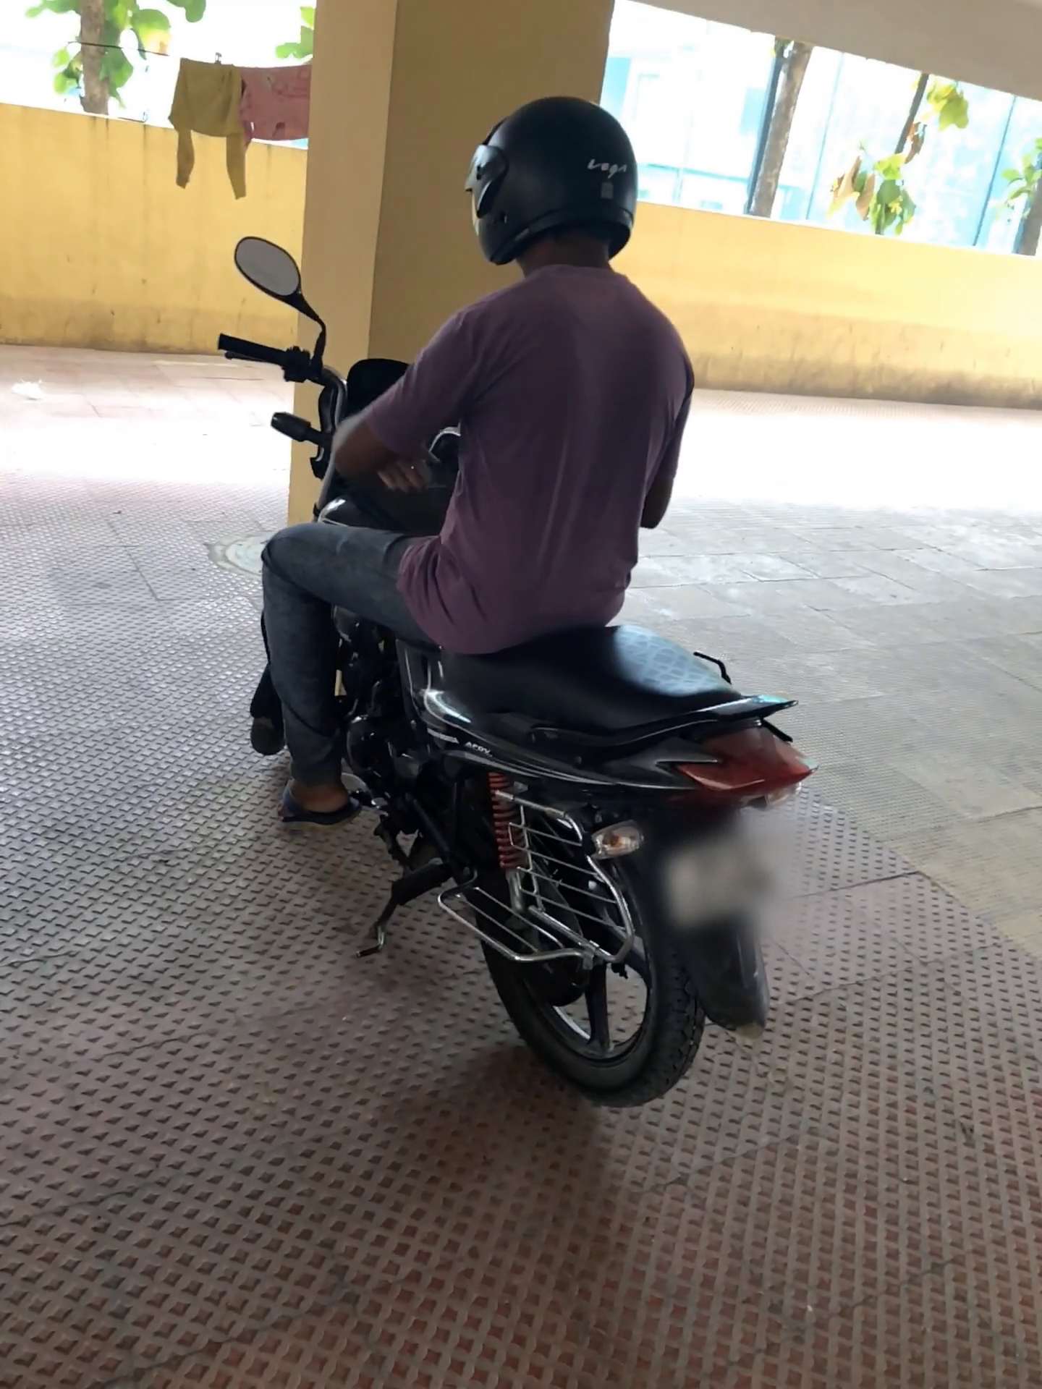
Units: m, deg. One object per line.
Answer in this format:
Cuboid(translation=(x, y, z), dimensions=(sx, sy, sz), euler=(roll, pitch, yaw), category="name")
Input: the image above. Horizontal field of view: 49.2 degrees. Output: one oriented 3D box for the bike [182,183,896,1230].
Cuboid(translation=(-0.167, -0.187, 2.223), dimensions=(0.632, 1.063, 1.653), euler=(-4, 33, -28), category="bike")
